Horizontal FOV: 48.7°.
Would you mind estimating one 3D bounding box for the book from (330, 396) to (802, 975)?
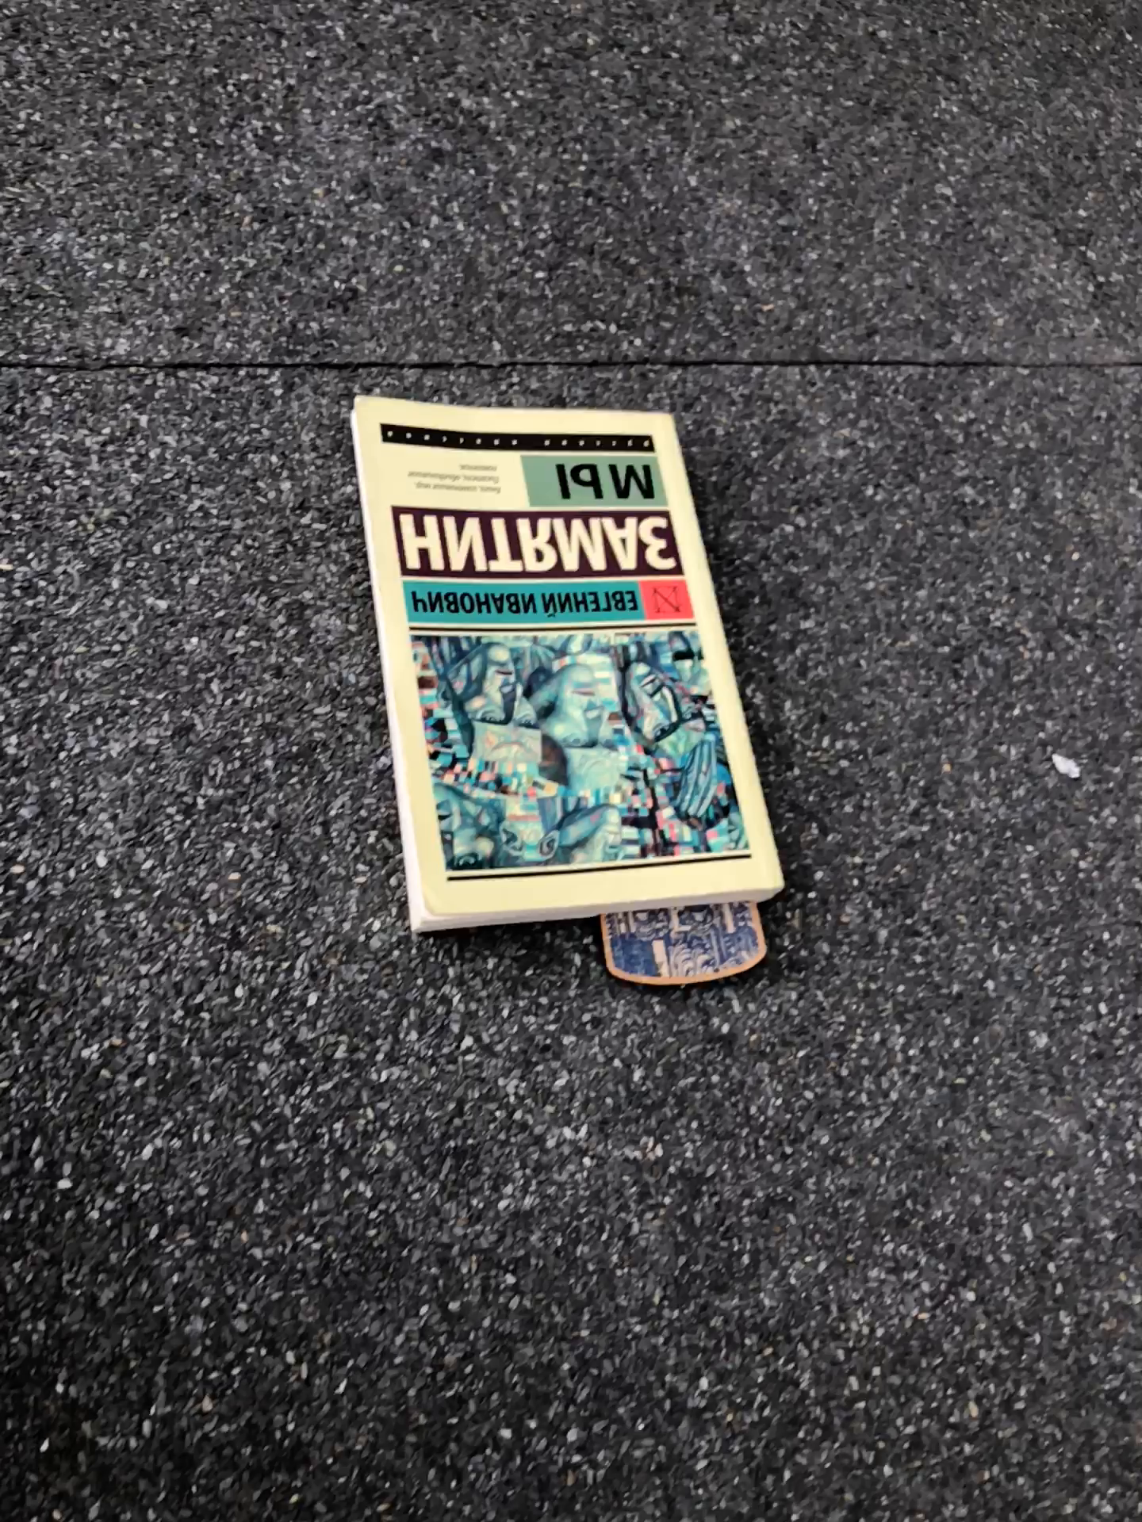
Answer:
[{"bbox_3d":[-0.006,-0.031,0.401,0.120,0.027,0.182,-3,68,-18],"label":"book"}]
